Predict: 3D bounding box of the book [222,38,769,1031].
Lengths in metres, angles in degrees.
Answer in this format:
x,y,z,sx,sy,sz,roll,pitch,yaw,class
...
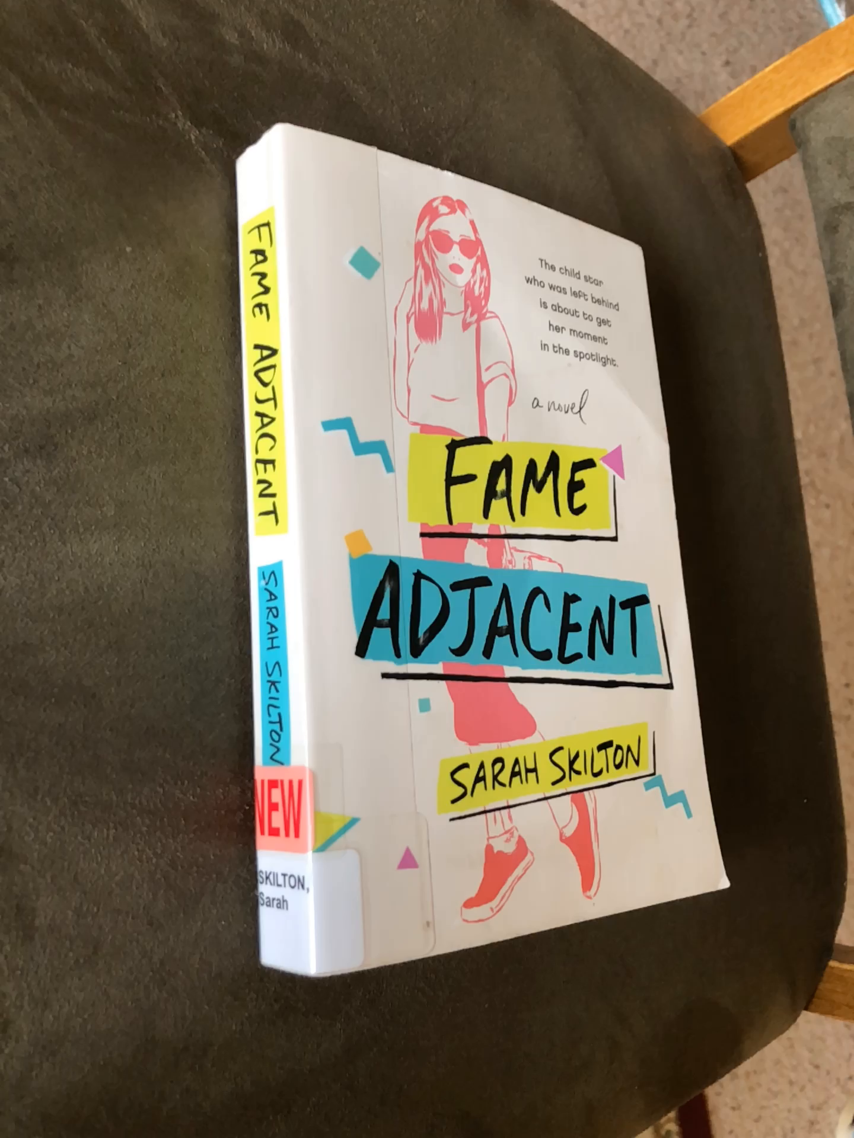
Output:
x,y,z,sx,sy,sz,roll,pitch,yaw,class
0.021,-0.010,0.262,0.141,0.040,0.220,3,78,-35,book
